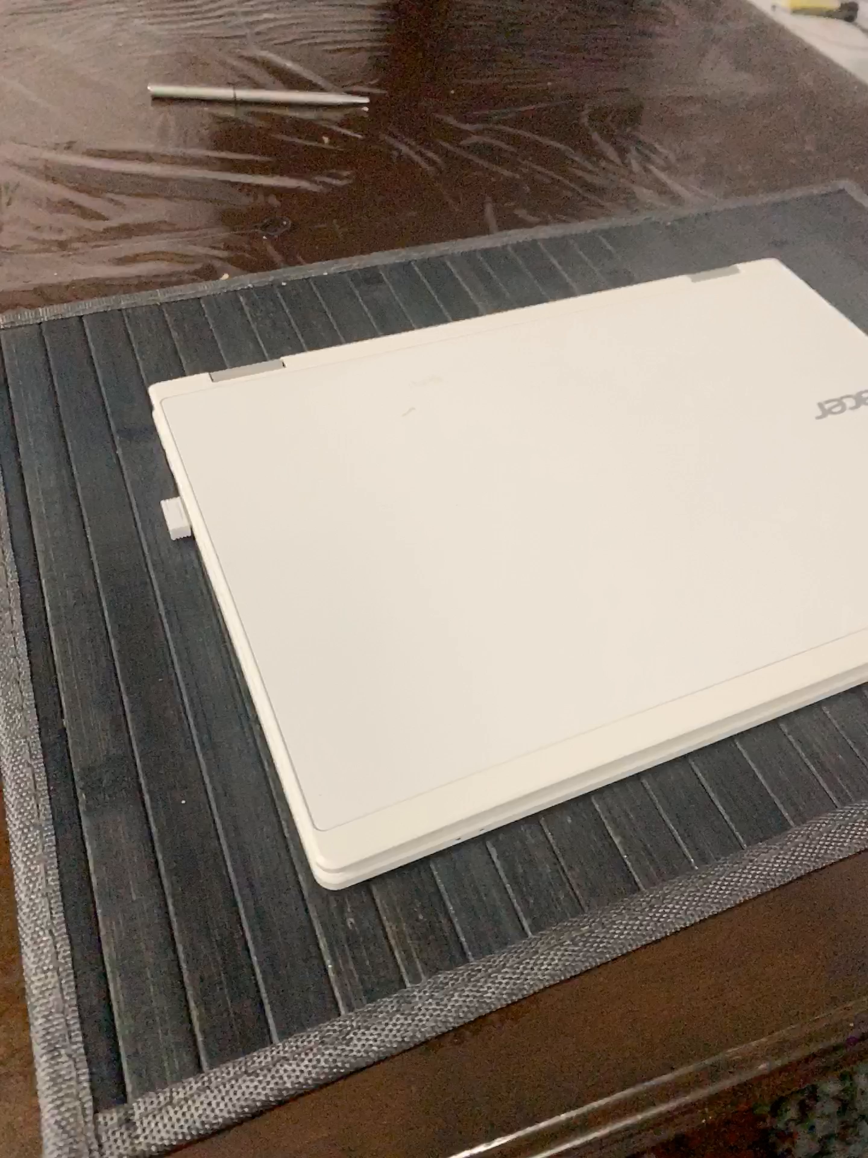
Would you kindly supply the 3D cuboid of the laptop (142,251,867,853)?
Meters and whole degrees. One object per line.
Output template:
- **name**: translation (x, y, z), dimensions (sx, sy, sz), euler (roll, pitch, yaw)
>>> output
- **laptop**: translation (0.059, -0.040, 0.316), dimensions (0.279, 0.002, 0.195), euler (-17, 54, -16)
